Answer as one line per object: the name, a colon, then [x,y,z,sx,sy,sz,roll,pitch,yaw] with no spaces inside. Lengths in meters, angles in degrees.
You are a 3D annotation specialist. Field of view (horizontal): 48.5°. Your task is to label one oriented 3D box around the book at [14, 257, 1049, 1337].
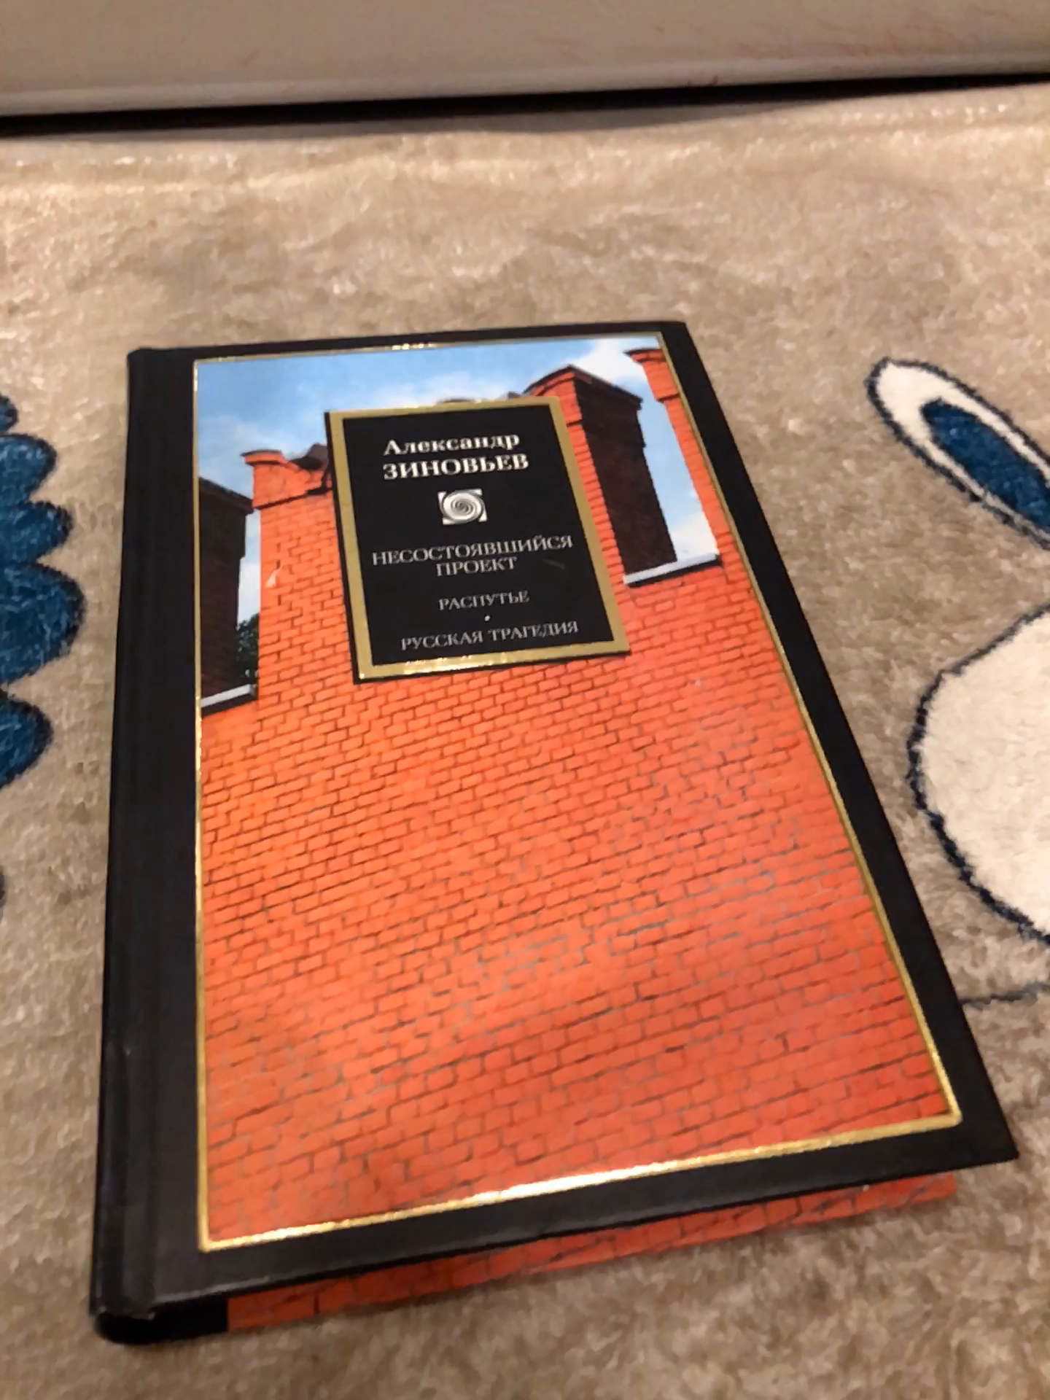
book: [-0.011,-0.007,0.230,0.140,0.040,0.211,-5,53,-8]
